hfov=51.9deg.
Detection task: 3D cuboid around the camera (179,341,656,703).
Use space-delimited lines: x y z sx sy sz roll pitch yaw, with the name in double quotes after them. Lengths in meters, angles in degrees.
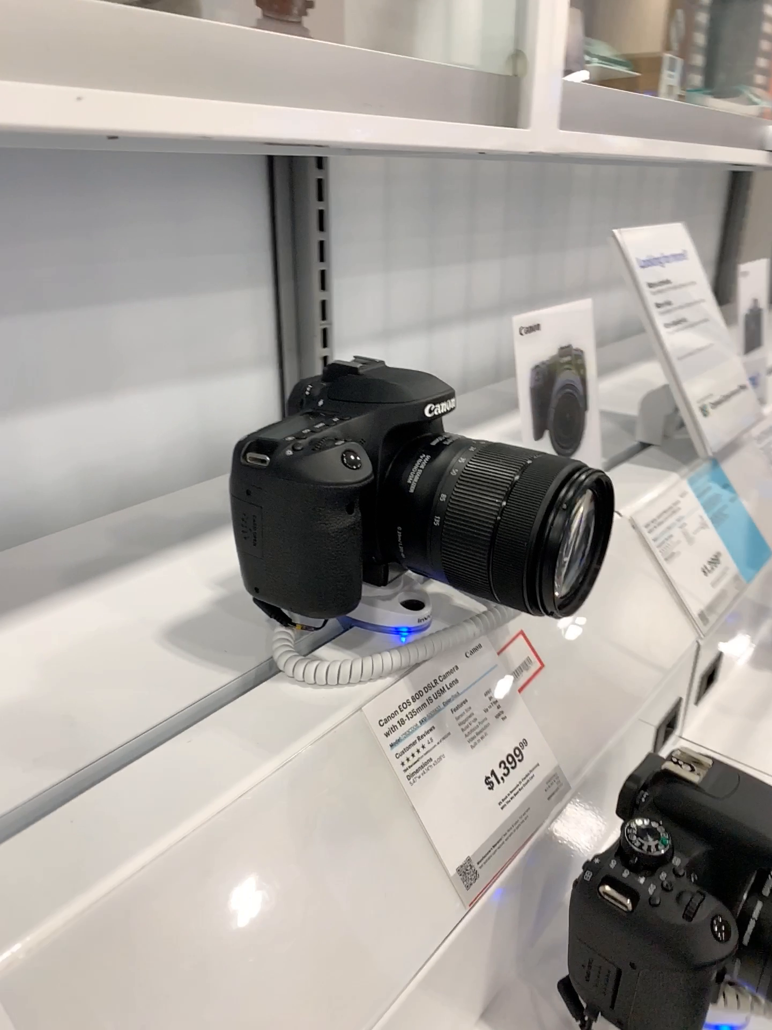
0.018 -0.016 0.392 0.170 0.100 0.150 15 27 32 "camera"
